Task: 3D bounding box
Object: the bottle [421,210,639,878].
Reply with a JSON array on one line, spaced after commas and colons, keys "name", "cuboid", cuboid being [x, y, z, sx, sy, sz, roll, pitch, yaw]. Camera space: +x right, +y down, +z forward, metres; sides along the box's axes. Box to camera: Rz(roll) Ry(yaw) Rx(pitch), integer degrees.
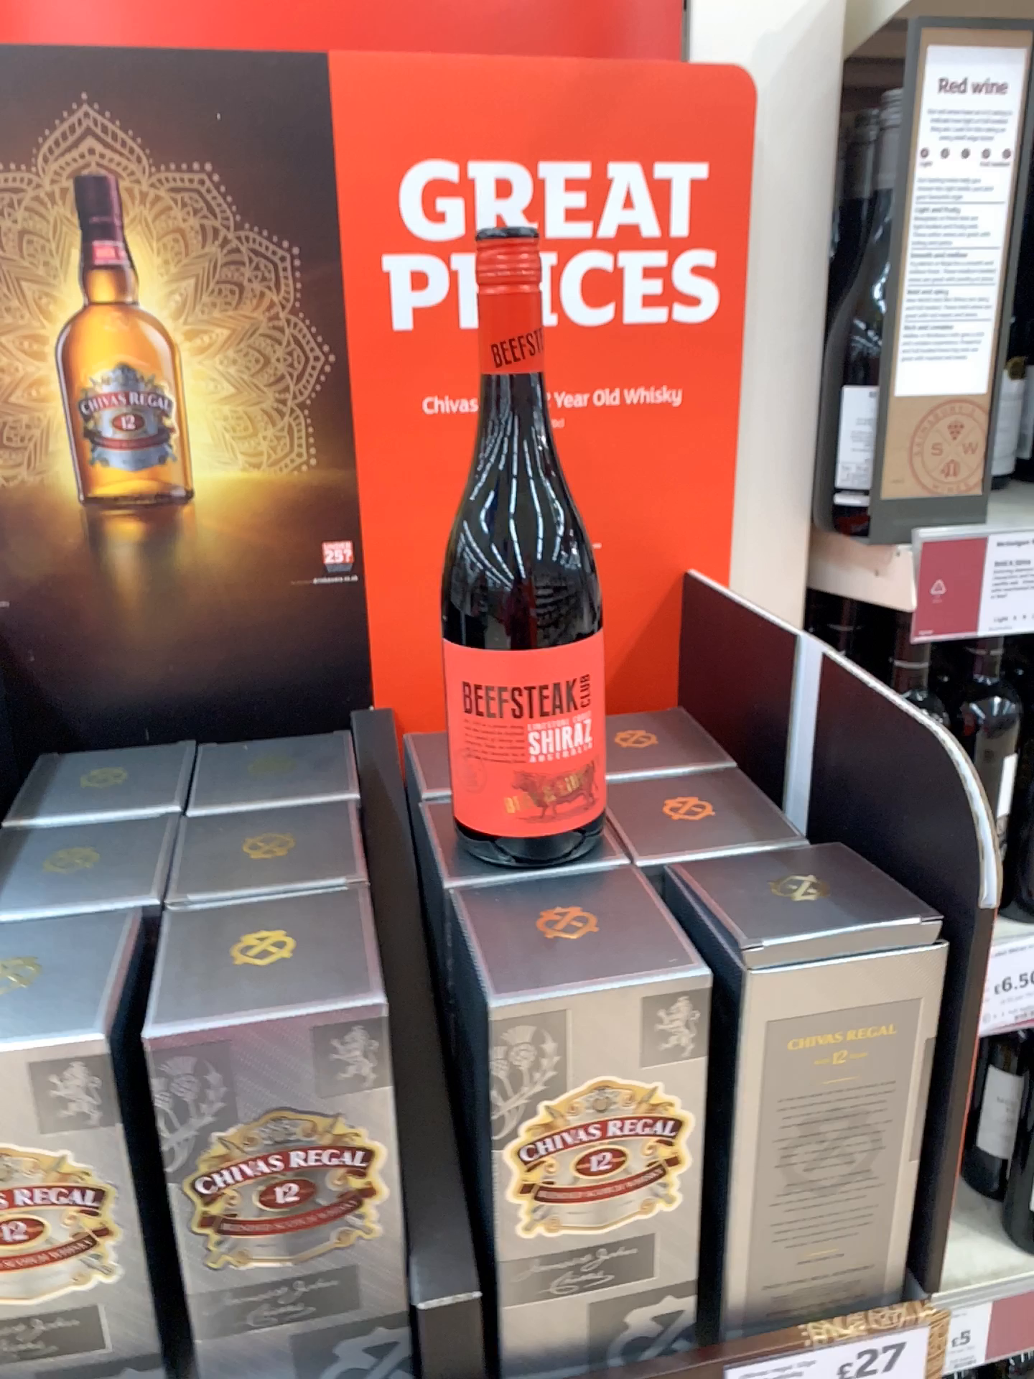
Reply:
[{"name": "bottle", "cuboid": [0.008, -0.061, 0.489, 0.083, 0.284, 0.081, -1, 20, 0]}]
